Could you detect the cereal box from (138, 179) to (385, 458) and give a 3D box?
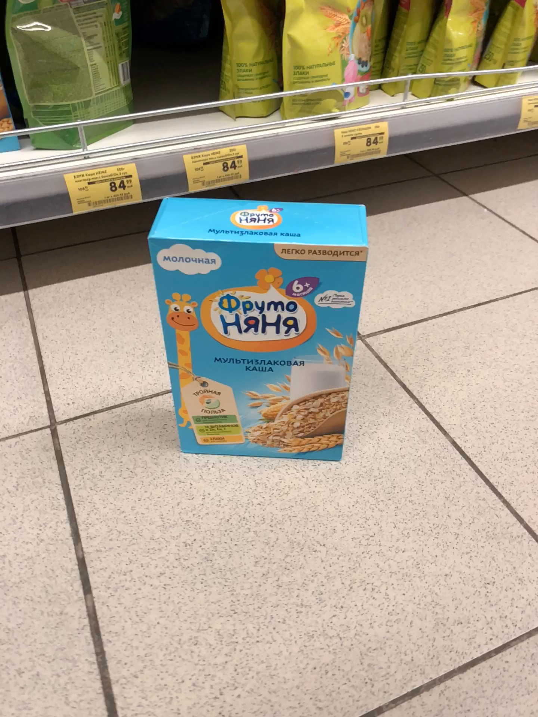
[{"bbox_3d":[-0.003,-0.019,0.424,0.140,0.199,0.060,3,42,3],"label":"cereal box"}]
